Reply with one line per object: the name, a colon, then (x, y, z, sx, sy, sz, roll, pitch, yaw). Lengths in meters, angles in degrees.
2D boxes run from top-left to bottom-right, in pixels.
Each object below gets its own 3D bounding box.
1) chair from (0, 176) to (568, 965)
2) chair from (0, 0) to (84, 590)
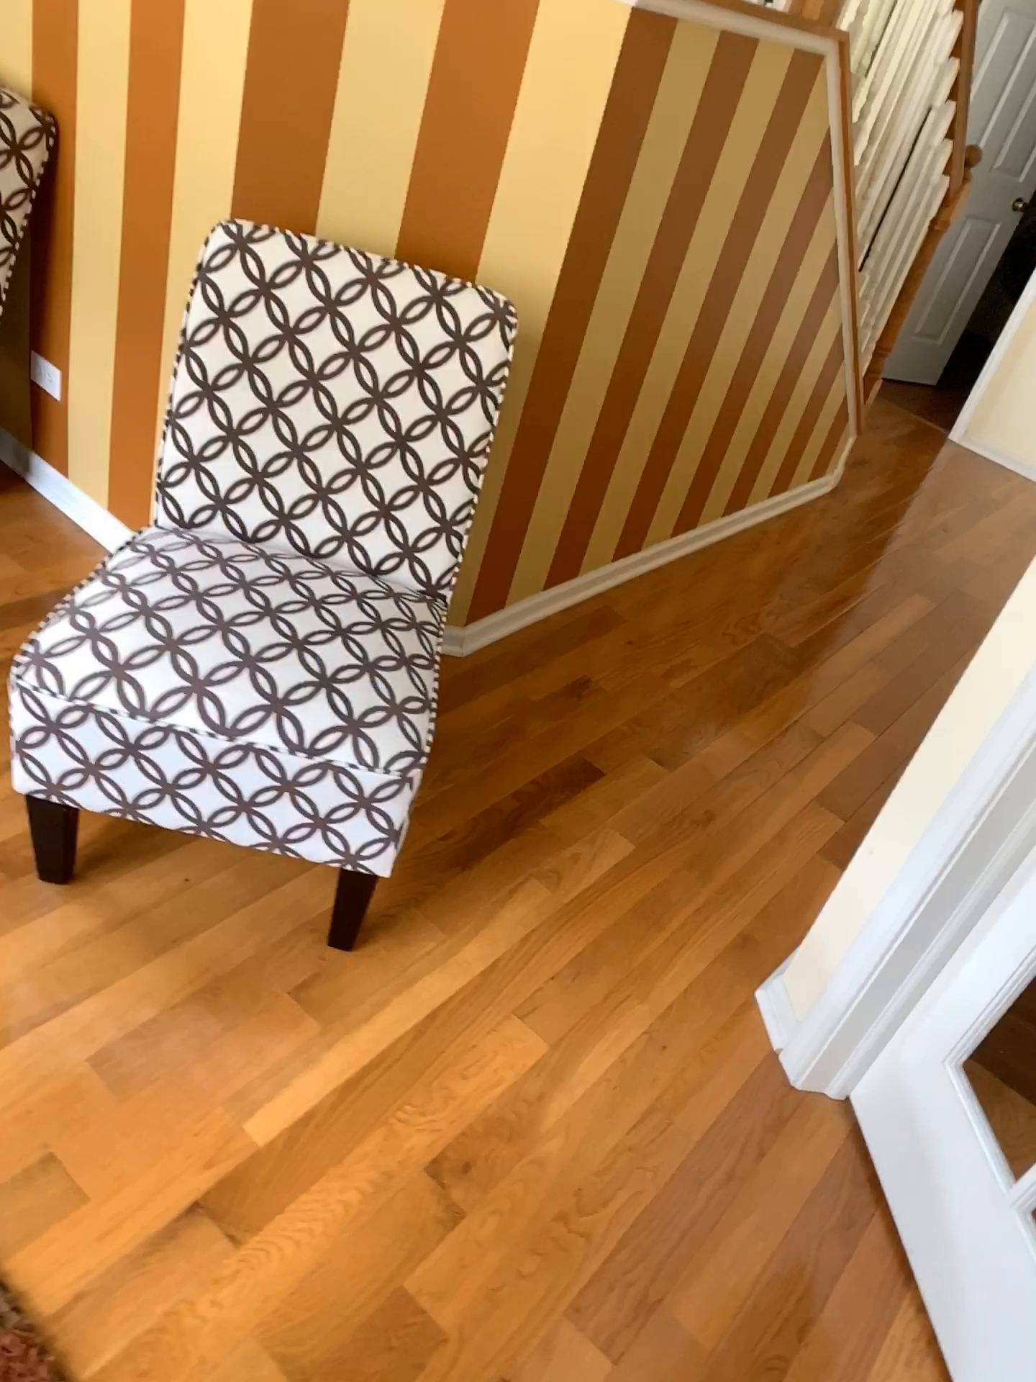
chair: (-0.345, -0.208, 1.555, 0.621, 0.774, 0.742, 14, 33, -4)
chair: (-1.363, -0.782, 1.974, 0.592, 0.834, 0.801, 35, 36, 24)
